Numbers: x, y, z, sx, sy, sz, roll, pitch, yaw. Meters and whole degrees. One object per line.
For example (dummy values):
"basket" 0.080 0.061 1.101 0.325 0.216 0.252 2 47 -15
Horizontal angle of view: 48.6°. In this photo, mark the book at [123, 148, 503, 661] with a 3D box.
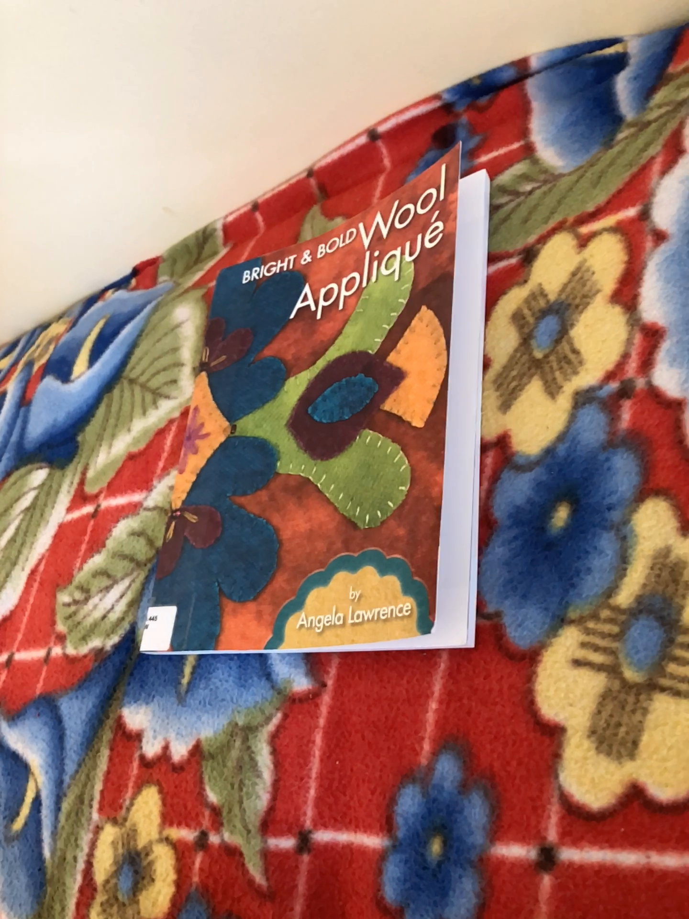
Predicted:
"book" -0.019 -0.025 0.429 0.221 0.020 0.264 -12 60 35
